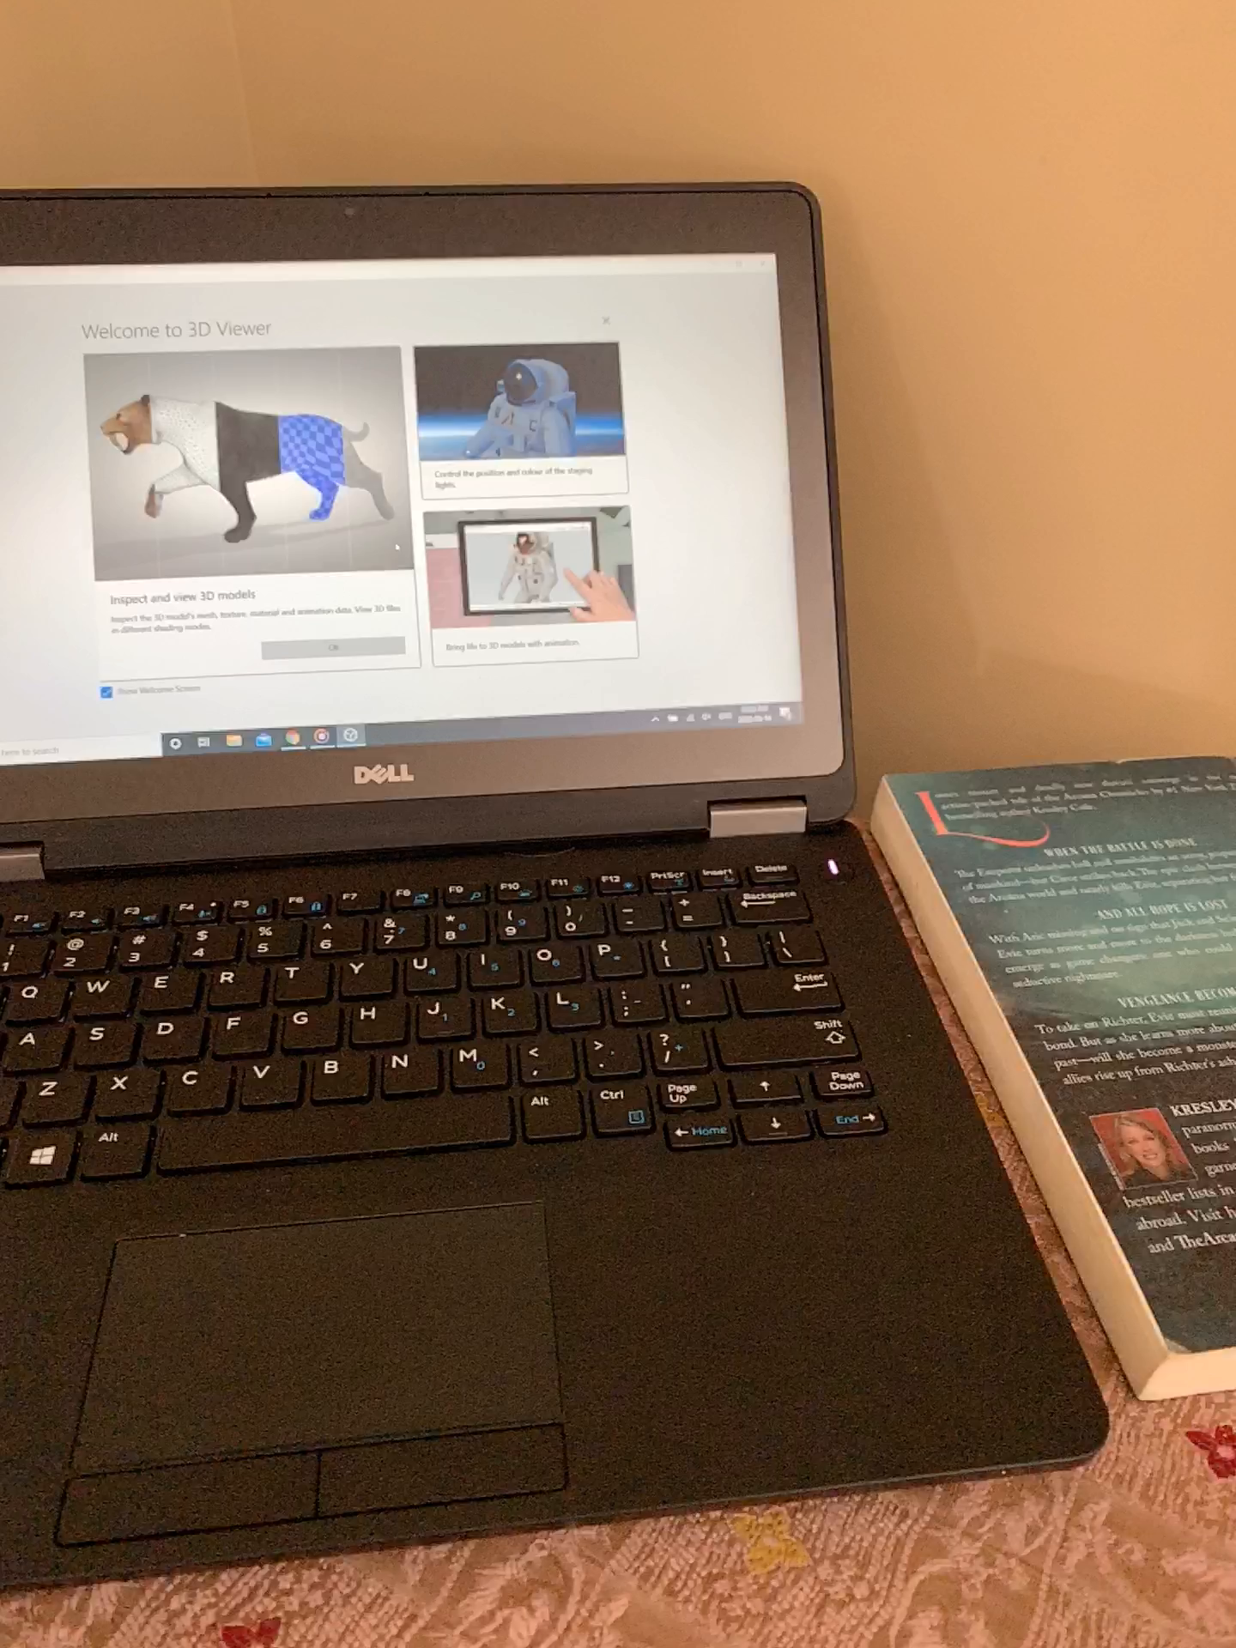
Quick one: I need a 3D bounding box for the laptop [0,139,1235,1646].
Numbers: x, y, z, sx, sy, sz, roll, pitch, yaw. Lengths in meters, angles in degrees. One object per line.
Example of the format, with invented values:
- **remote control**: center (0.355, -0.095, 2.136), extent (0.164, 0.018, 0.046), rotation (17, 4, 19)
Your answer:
- **laptop**: center (-0.082, -0.049, 0.399), extent (0.365, 0.186, 0.424), rotation (-4, 41, -5)
